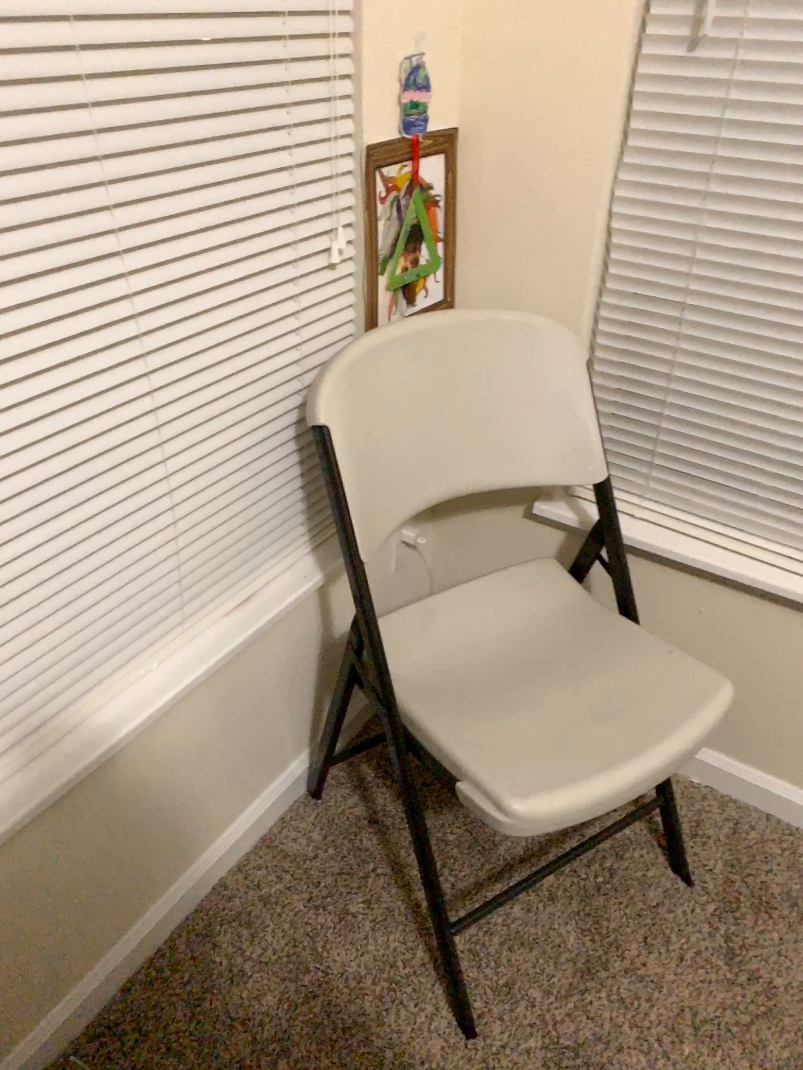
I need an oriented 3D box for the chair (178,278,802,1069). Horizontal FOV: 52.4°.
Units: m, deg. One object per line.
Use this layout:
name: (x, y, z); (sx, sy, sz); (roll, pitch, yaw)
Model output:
chair: (0.127, 0.147, 1.221); (0.611, 0.816, 0.682); (-17, 37, -28)
